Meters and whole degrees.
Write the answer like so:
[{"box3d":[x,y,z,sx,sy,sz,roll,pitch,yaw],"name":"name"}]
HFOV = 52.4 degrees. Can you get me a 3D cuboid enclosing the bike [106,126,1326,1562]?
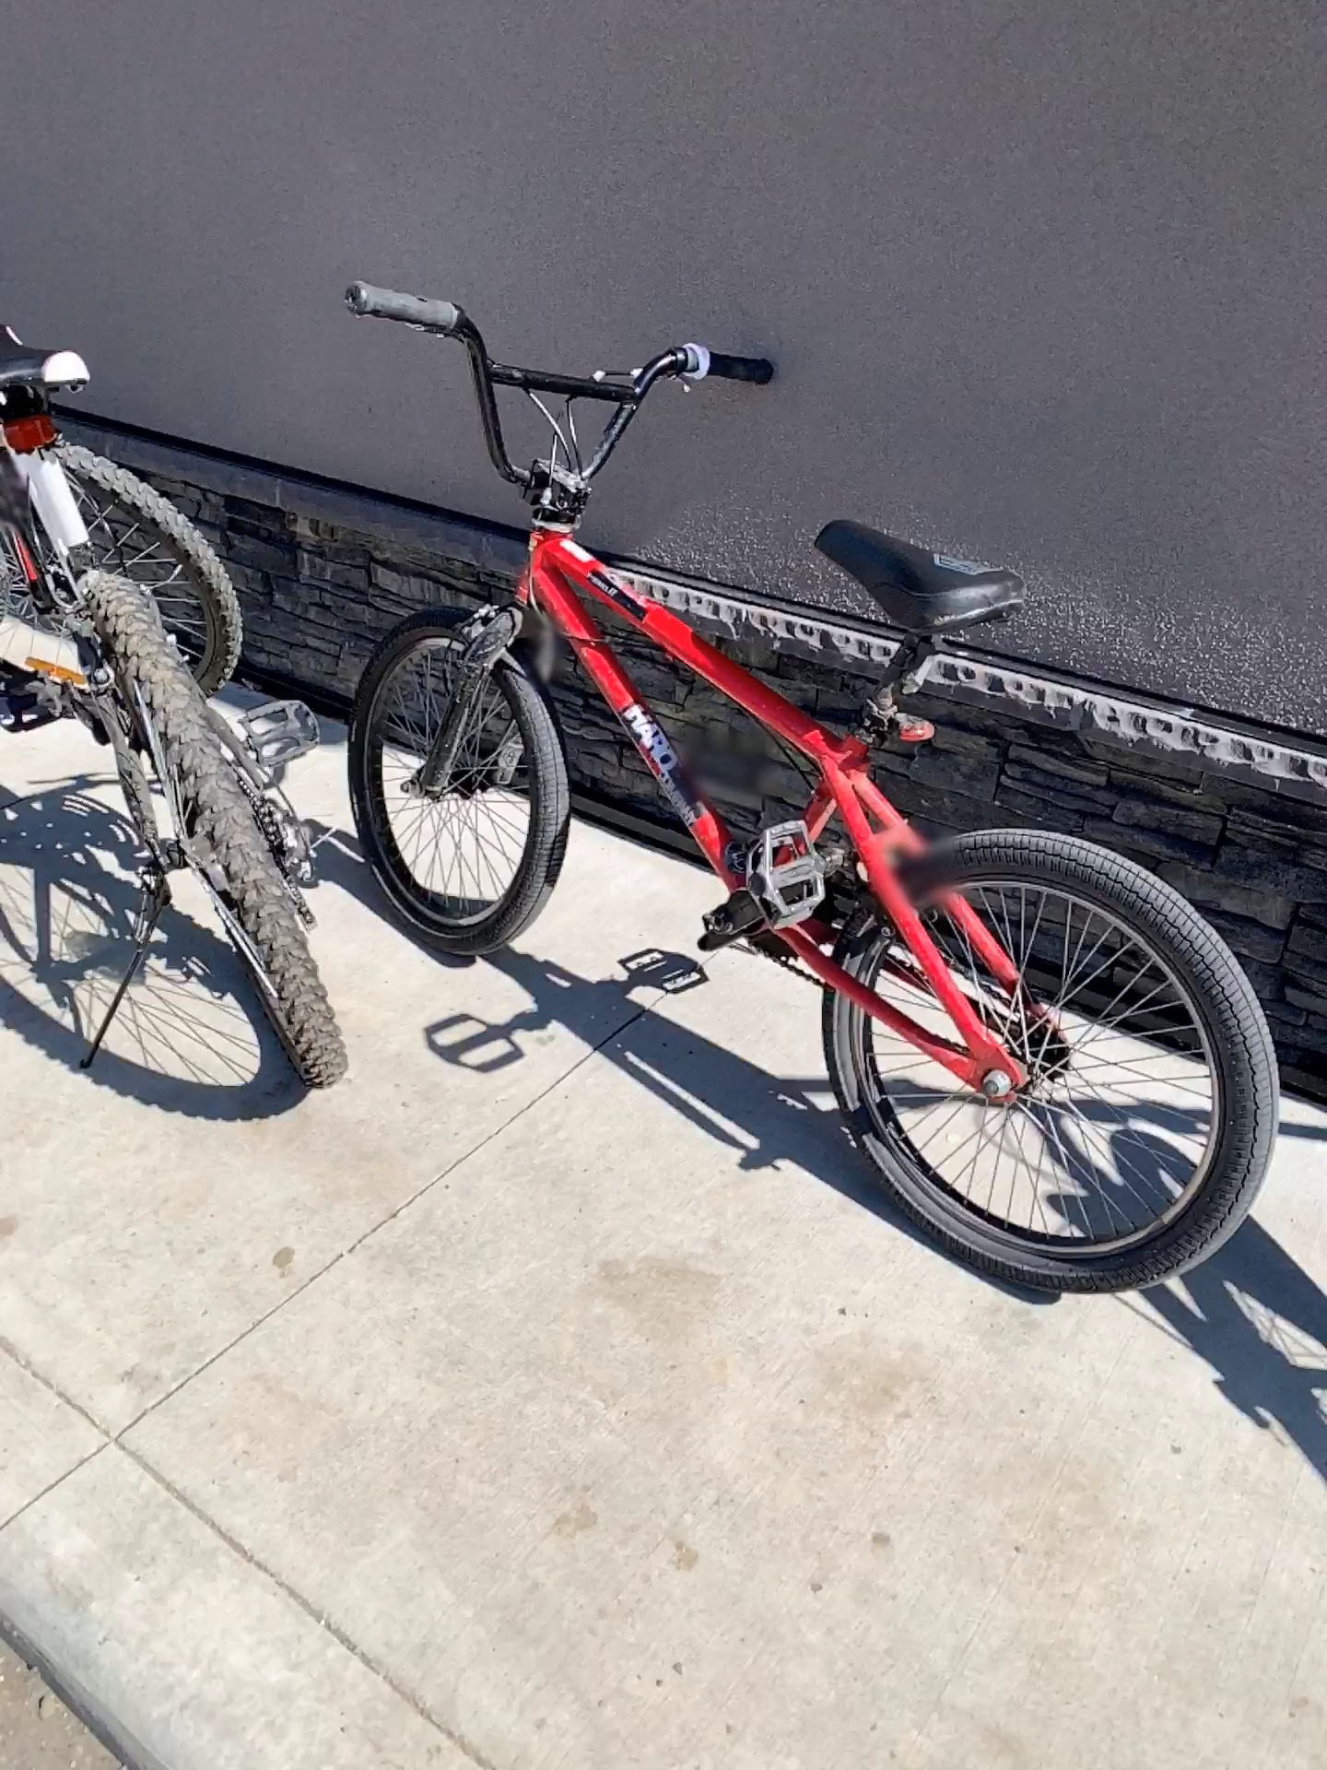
[{"box3d":[0.143,-0.235,1.544,1.315,0.908,0.776,29,39,32],"name":"bike"}]
